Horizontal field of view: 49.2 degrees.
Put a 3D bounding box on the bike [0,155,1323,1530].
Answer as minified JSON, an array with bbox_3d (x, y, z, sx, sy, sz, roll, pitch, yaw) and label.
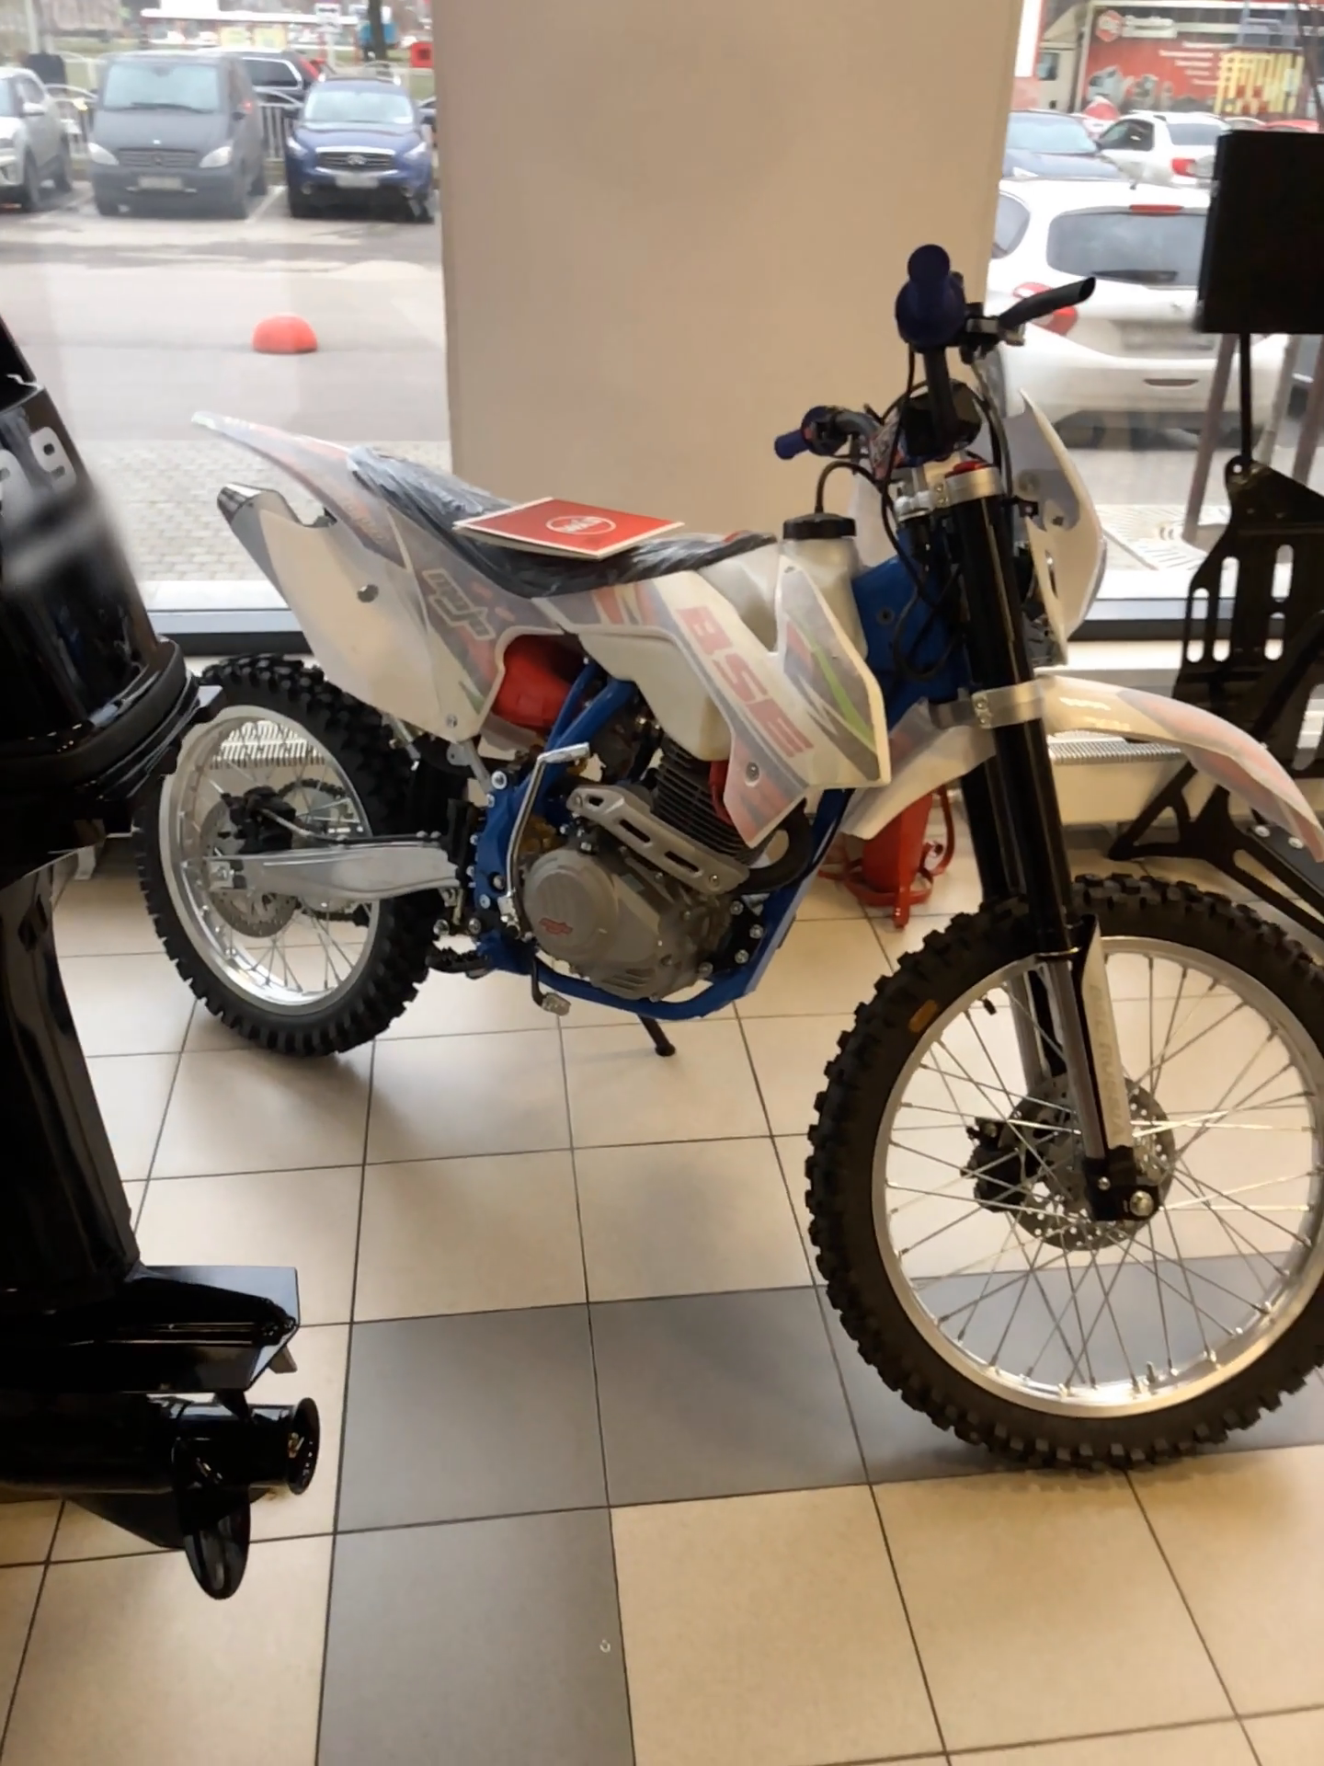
[{"bbox_3d":[0.080,-0.220,1.997,1.846,1.220,0.846,16,32,21],"label":"bike"}]
